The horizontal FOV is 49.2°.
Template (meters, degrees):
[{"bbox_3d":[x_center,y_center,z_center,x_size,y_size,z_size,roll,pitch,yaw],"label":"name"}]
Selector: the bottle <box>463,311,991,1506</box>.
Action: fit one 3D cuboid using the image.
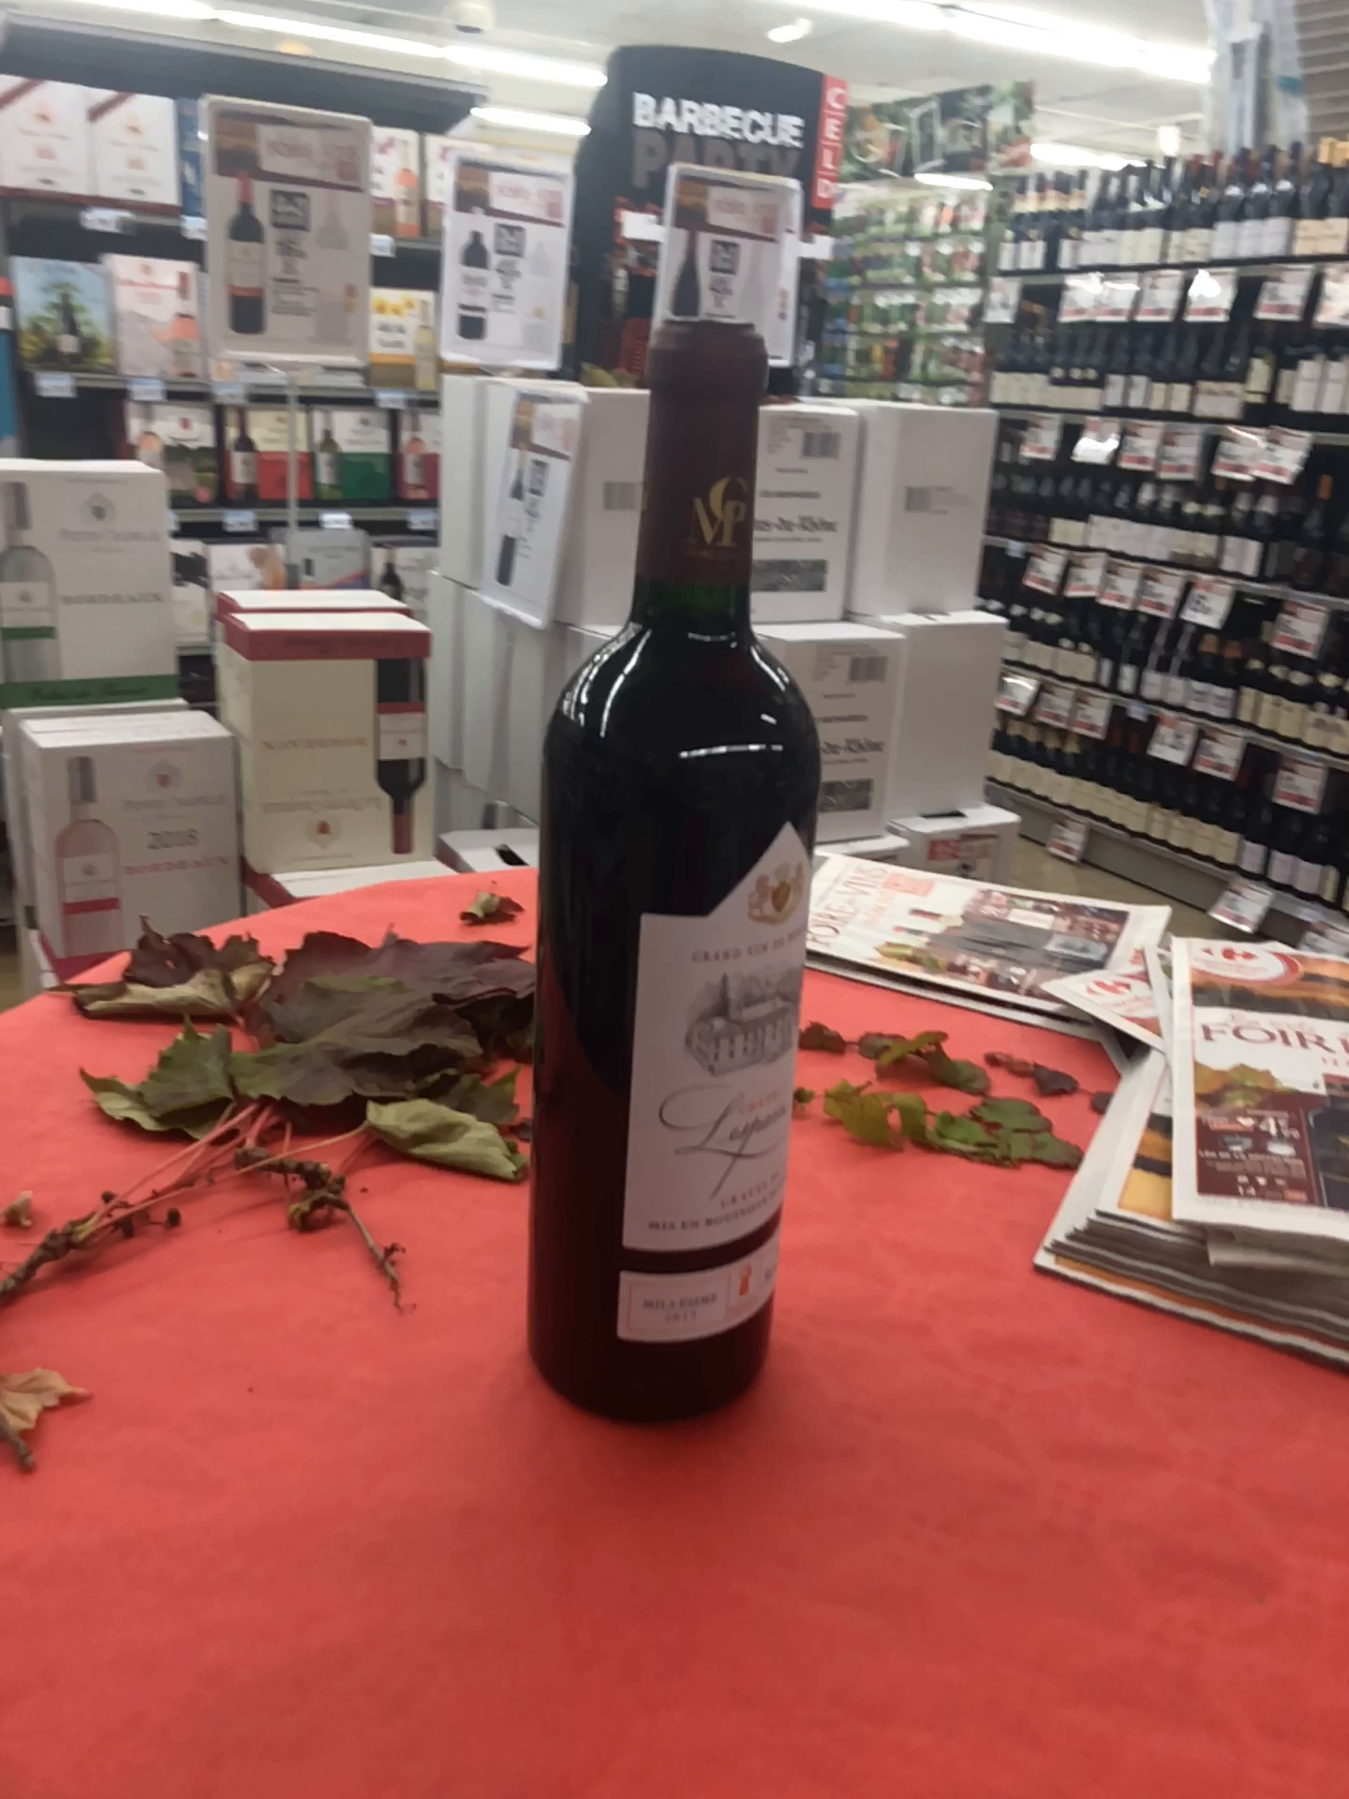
[{"bbox_3d":[0.006,0.001,0.409,0.090,0.299,0.090,3,19,-1],"label":"bottle"}]
